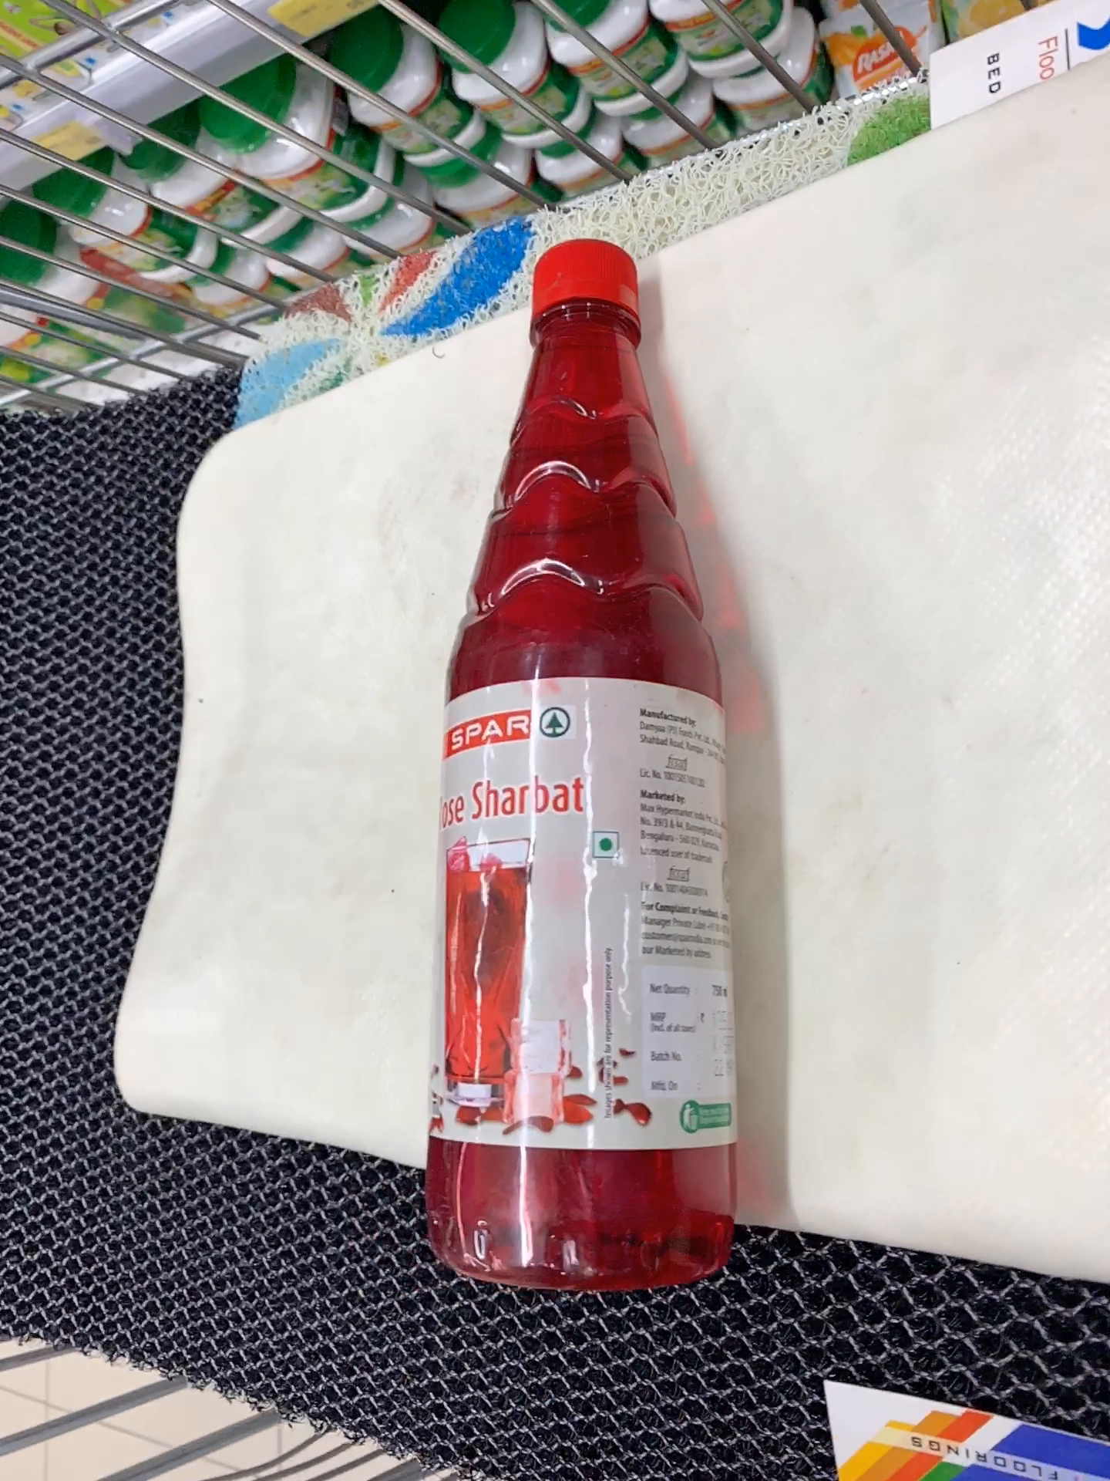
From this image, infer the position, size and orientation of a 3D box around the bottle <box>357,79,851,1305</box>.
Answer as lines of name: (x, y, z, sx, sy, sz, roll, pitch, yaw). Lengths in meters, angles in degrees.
bottle: (0.012, -0.012, 0.254, 0.070, 0.070, 0.230, -10, 73, 37)
